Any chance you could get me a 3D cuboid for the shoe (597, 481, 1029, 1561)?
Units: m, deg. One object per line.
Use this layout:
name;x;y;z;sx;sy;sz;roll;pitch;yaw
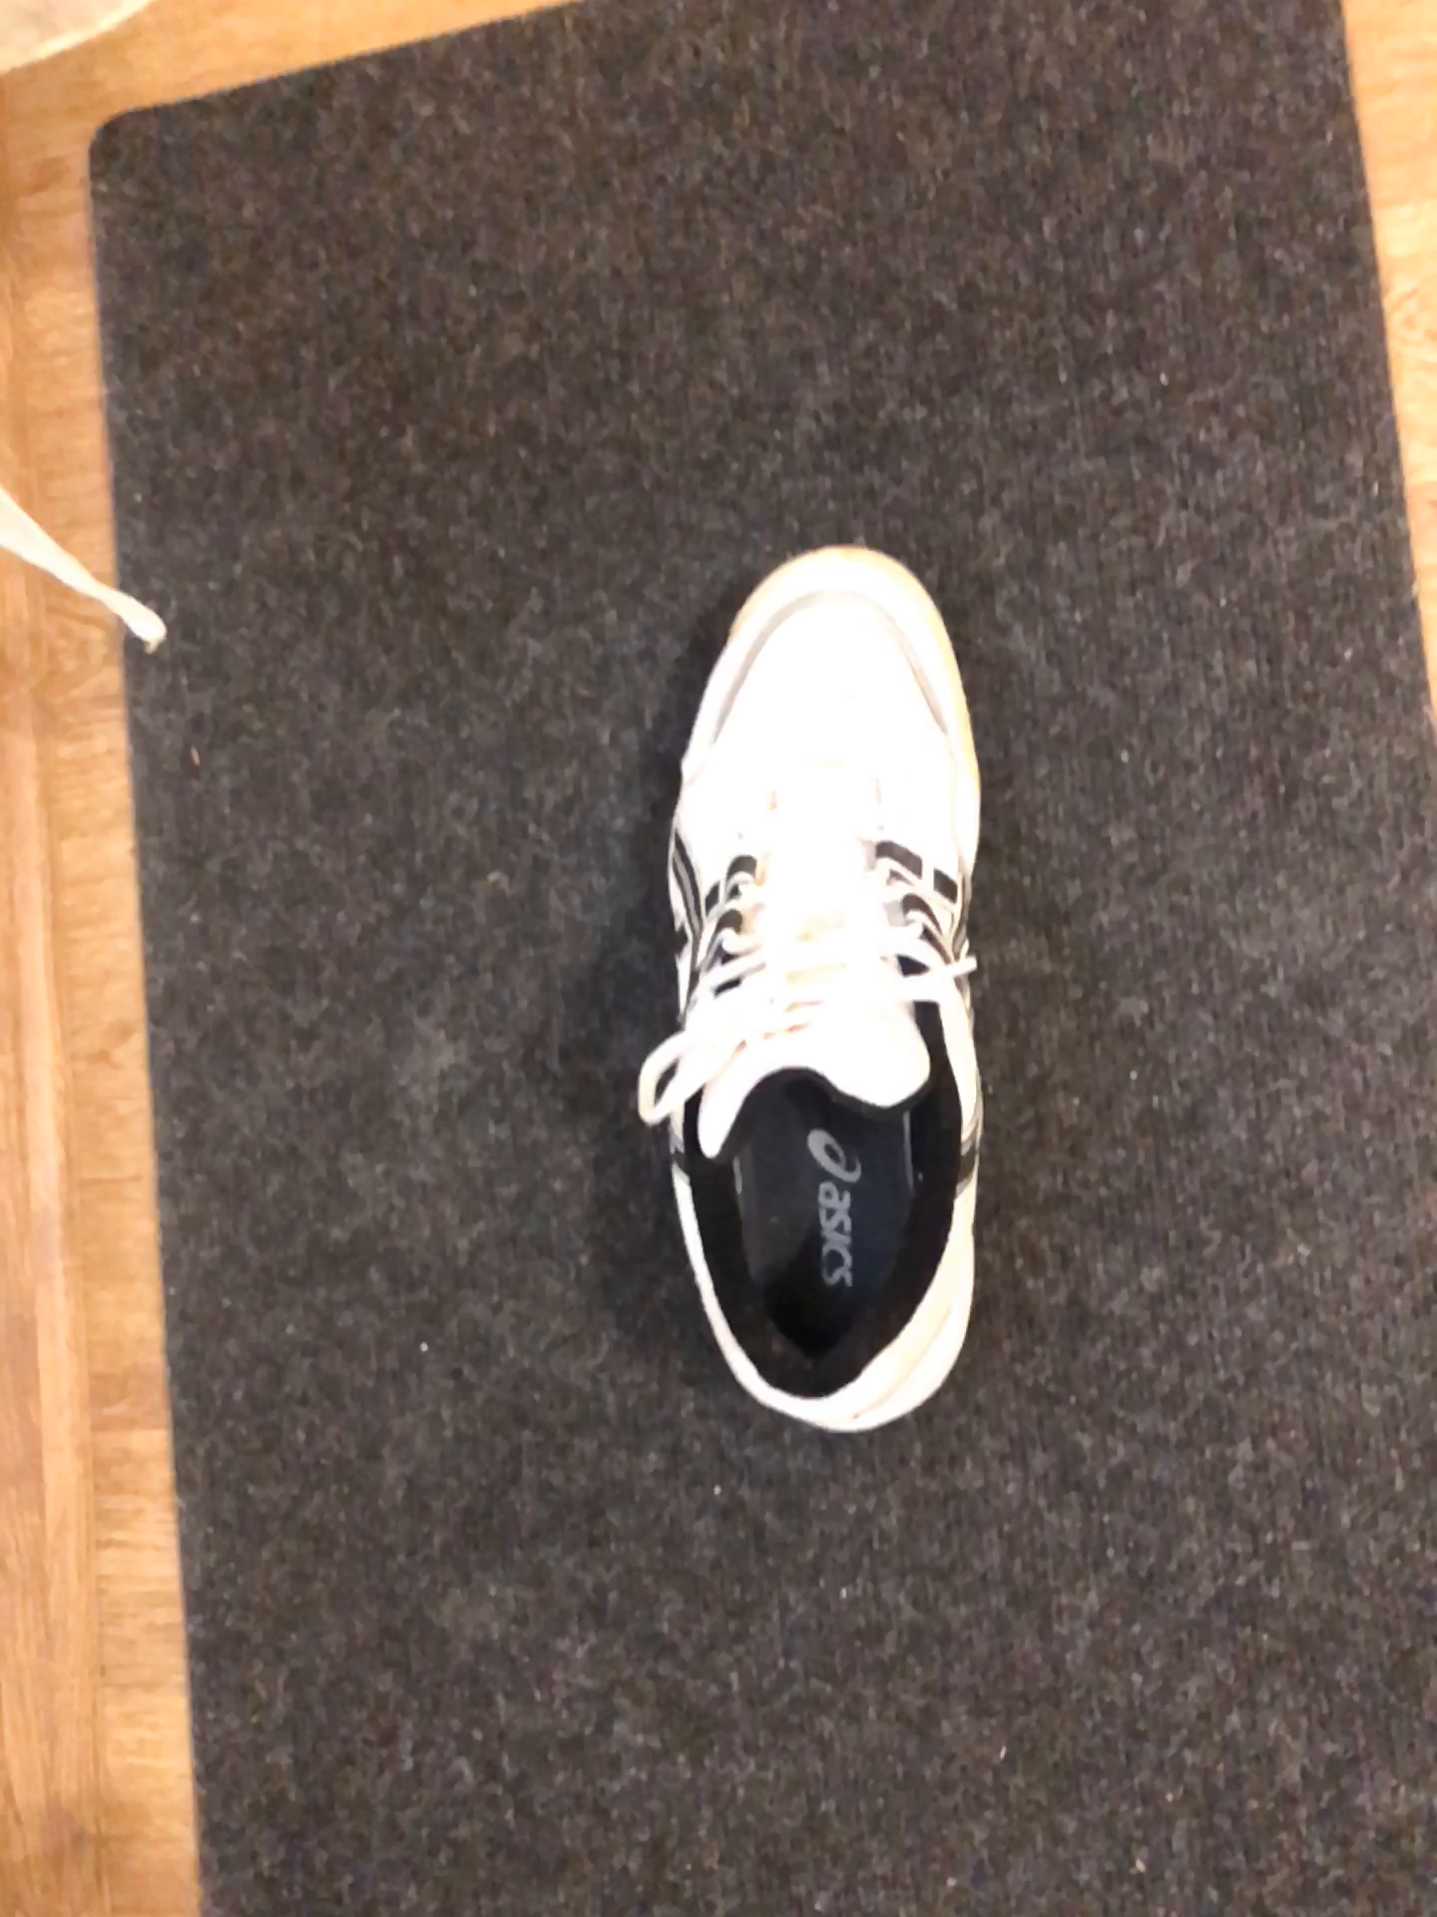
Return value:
shoe;0.032;0.019;0.473;0.100;0.100;0.280;-3;86;13
